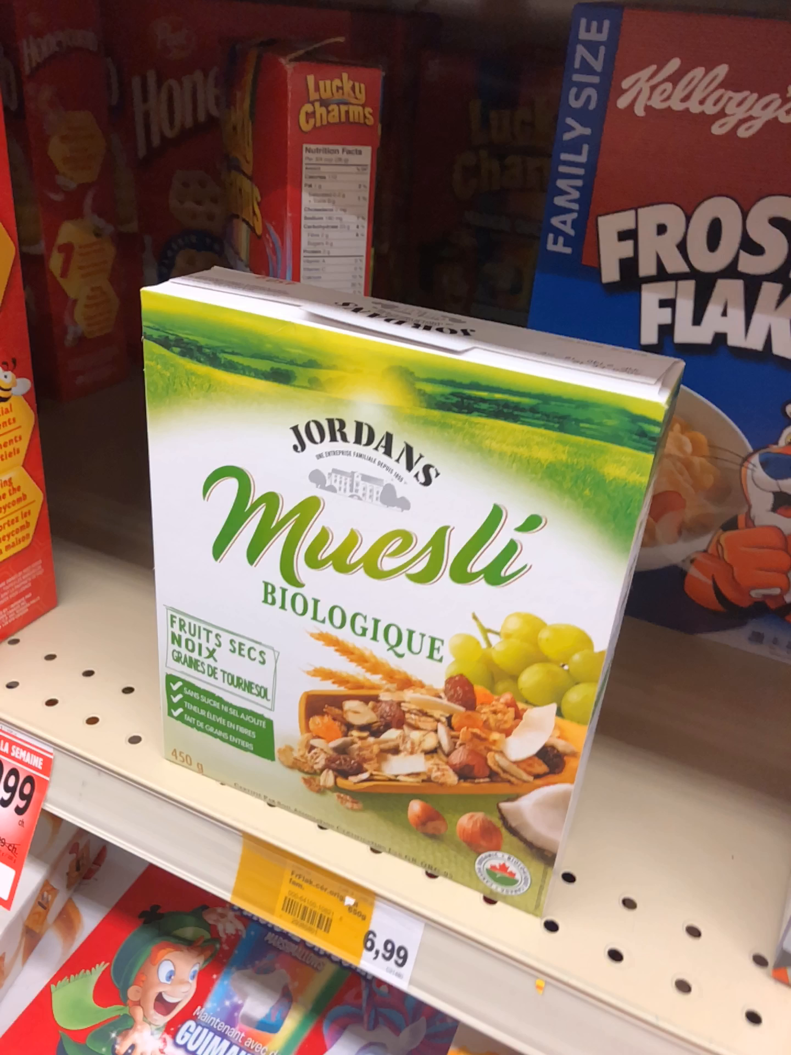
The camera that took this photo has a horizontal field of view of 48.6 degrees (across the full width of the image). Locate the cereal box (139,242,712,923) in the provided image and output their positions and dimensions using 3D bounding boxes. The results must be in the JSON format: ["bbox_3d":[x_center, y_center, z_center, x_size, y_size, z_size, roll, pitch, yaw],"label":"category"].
[{"bbox_3d":[-0.002,0.022,0.335,0.180,0.218,0.050,17,31,19],"label":"cereal box"}]
